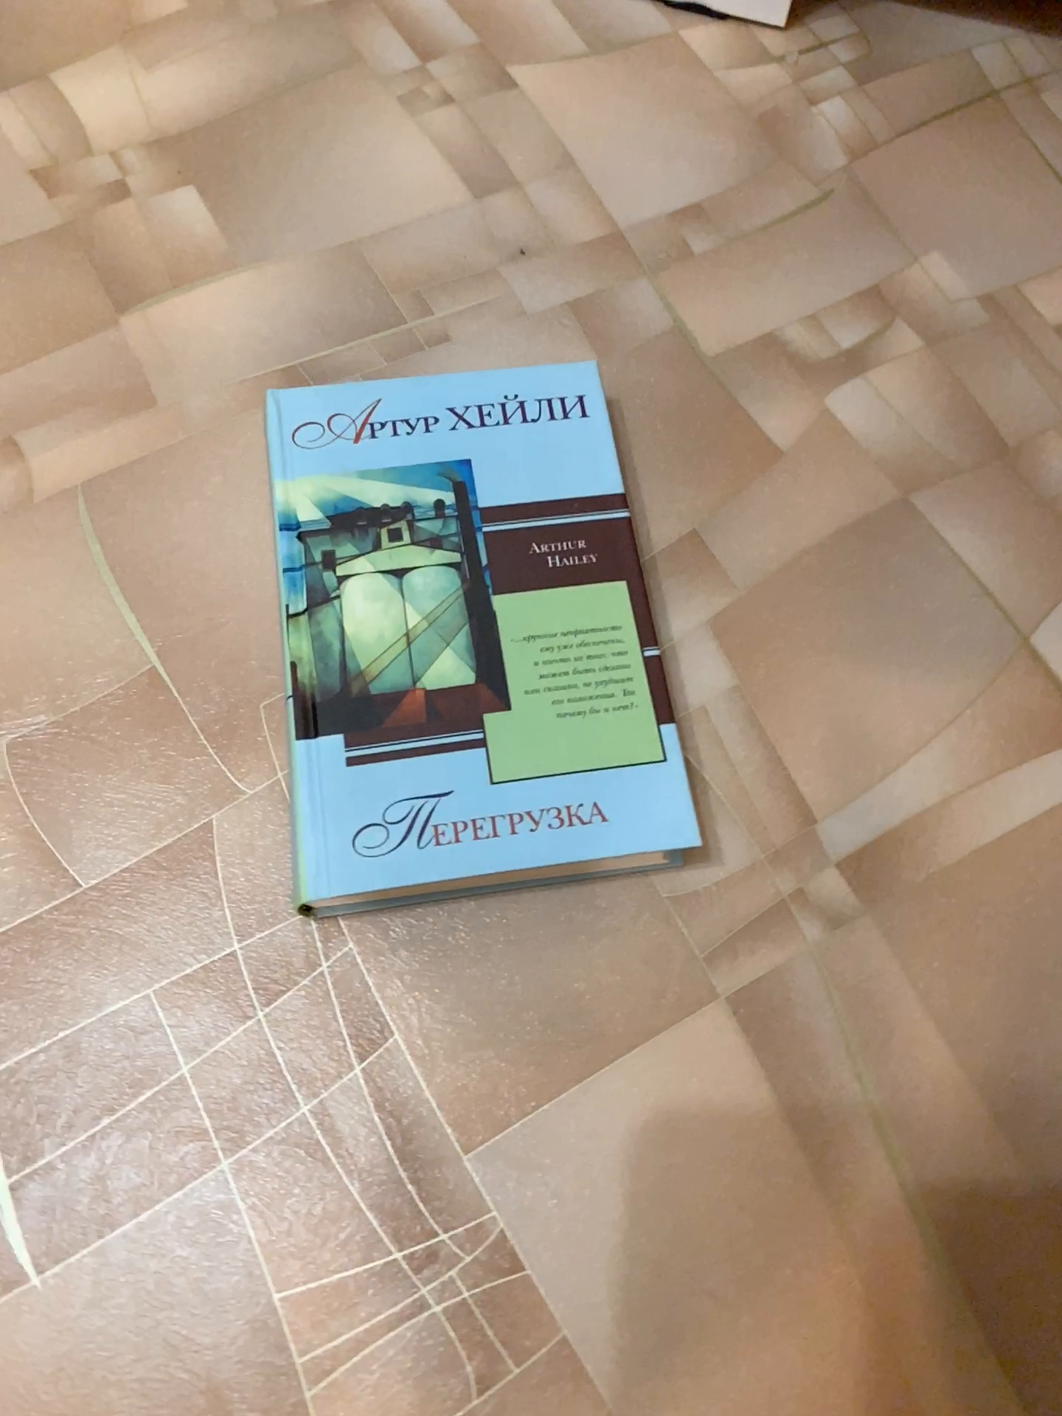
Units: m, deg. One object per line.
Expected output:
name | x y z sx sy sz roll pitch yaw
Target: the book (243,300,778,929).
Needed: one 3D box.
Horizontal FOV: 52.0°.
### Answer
book | -0.016 -0.041 0.384 0.150 0.040 0.211 -8 67 -5
